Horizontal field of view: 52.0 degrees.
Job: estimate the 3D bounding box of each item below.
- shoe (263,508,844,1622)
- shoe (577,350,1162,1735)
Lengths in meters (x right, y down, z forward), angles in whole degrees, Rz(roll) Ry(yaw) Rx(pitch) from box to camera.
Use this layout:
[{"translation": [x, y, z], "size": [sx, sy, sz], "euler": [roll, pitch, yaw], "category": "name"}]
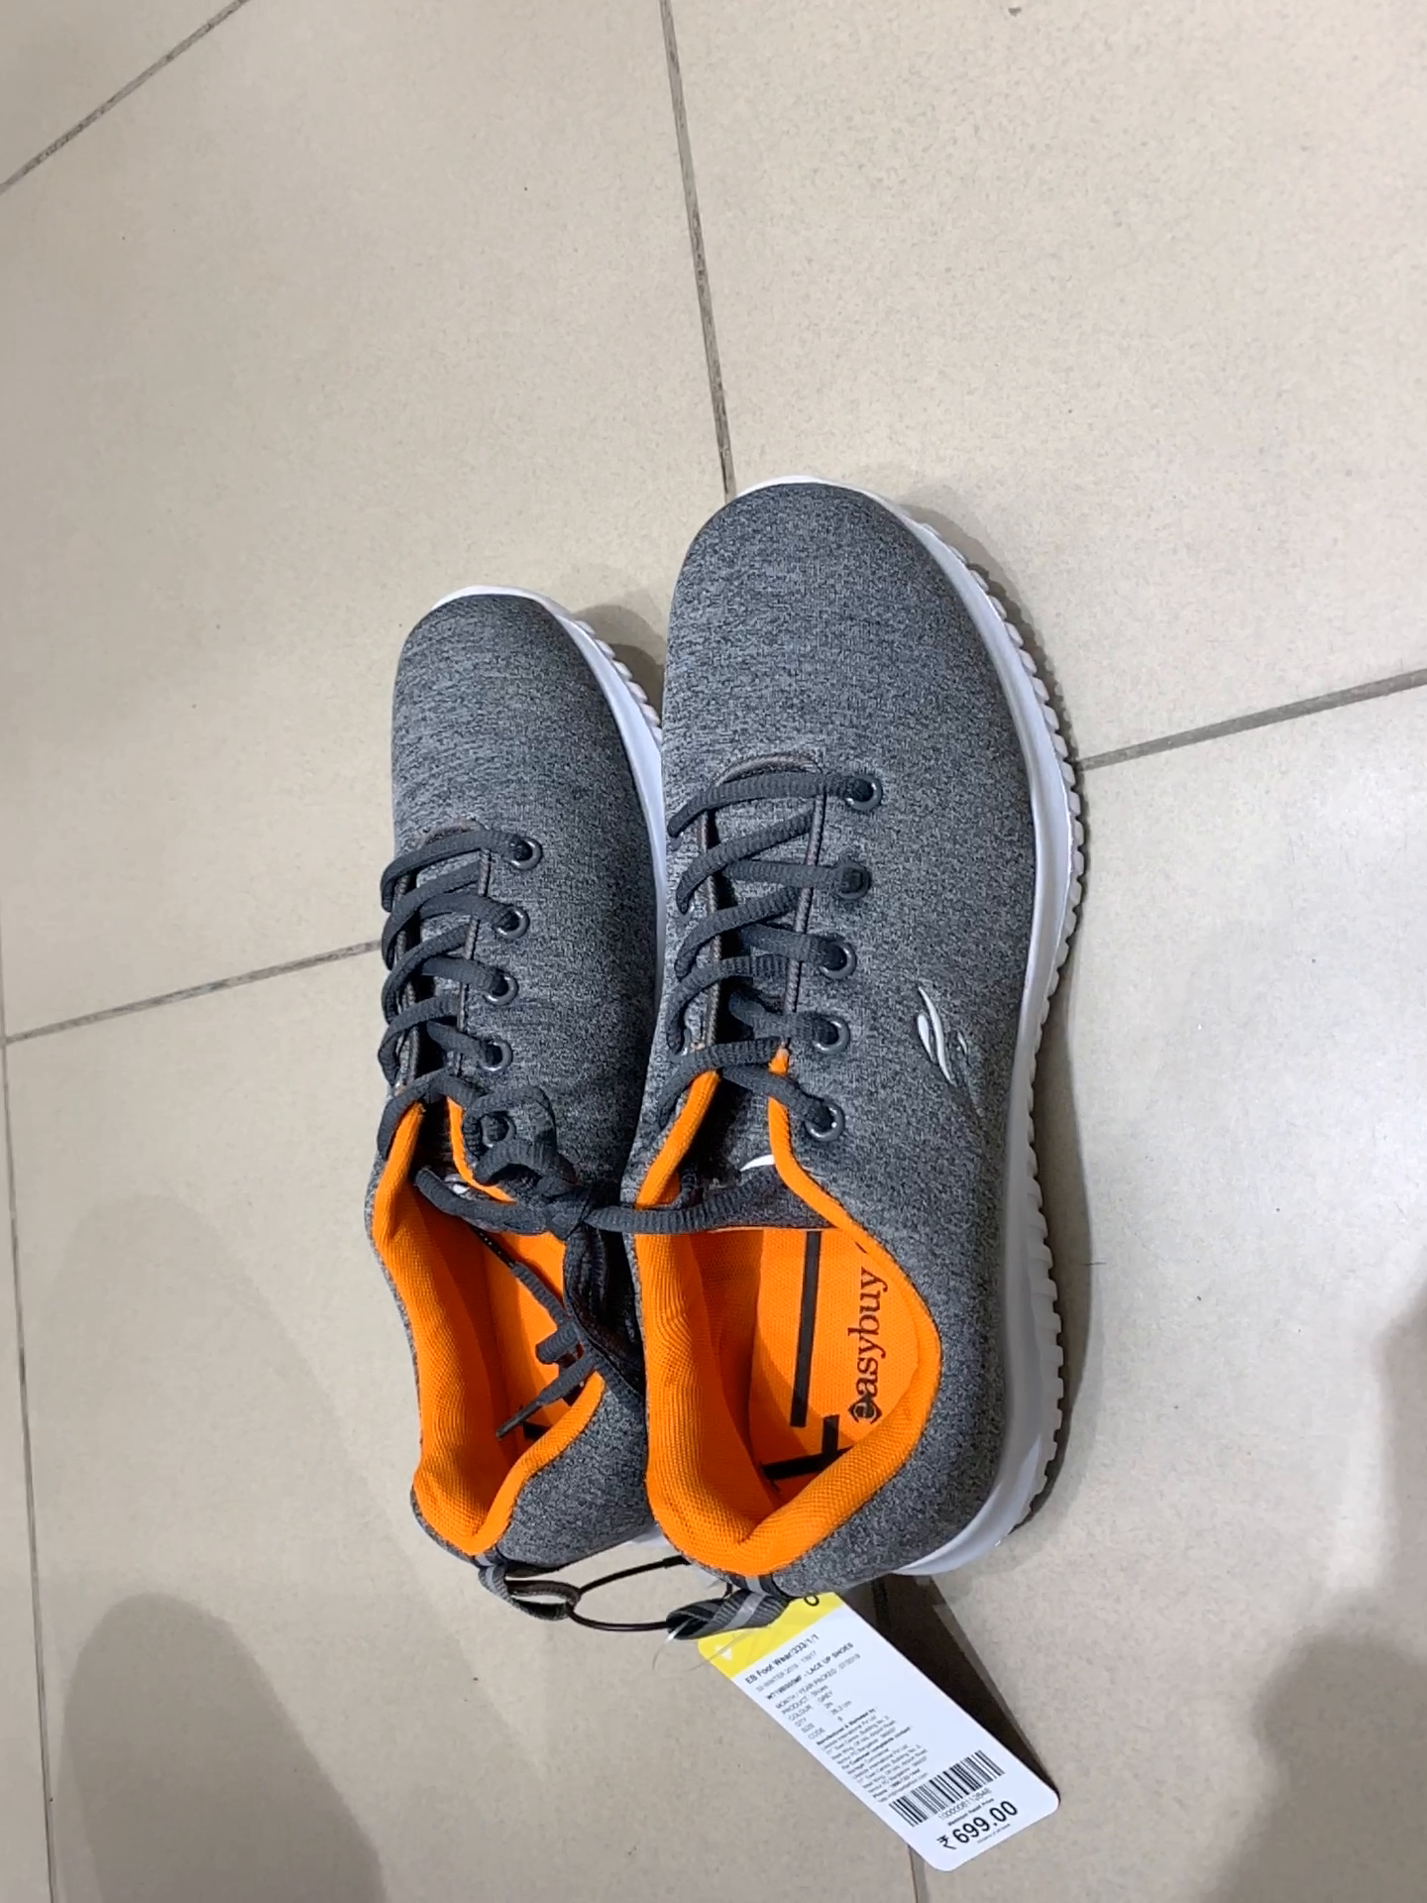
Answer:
[{"translation": [-0.049, 0.033, 0.428], "size": [0.100, 0.090, 0.280], "euler": [-14, 79, 32], "category": "shoe"}, {"translation": [0.039, 0.020, 0.381], "size": [0.100, 0.090, 0.300], "euler": [-8, 82, 32], "category": "shoe"}]
